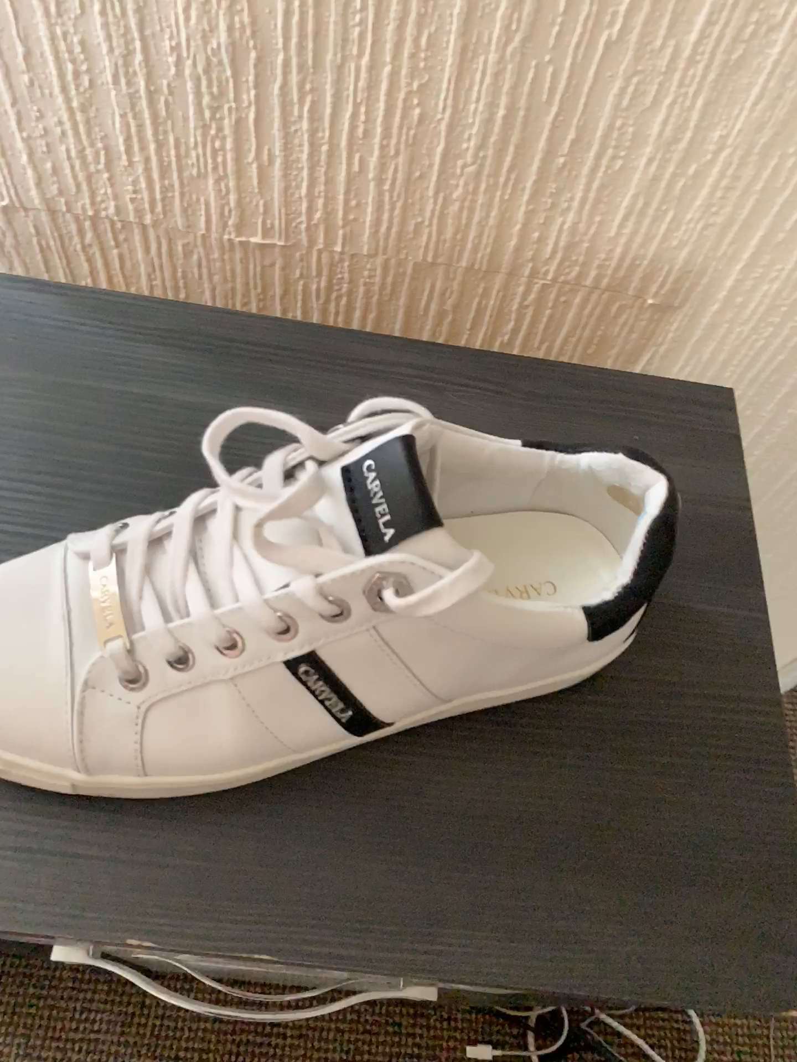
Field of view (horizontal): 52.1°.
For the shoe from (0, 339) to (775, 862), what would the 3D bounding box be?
[{"bbox_3d":[-0.029,0.018,0.277,0.260,0.087,0.104,-10,62,-14],"label":"shoe"}]
